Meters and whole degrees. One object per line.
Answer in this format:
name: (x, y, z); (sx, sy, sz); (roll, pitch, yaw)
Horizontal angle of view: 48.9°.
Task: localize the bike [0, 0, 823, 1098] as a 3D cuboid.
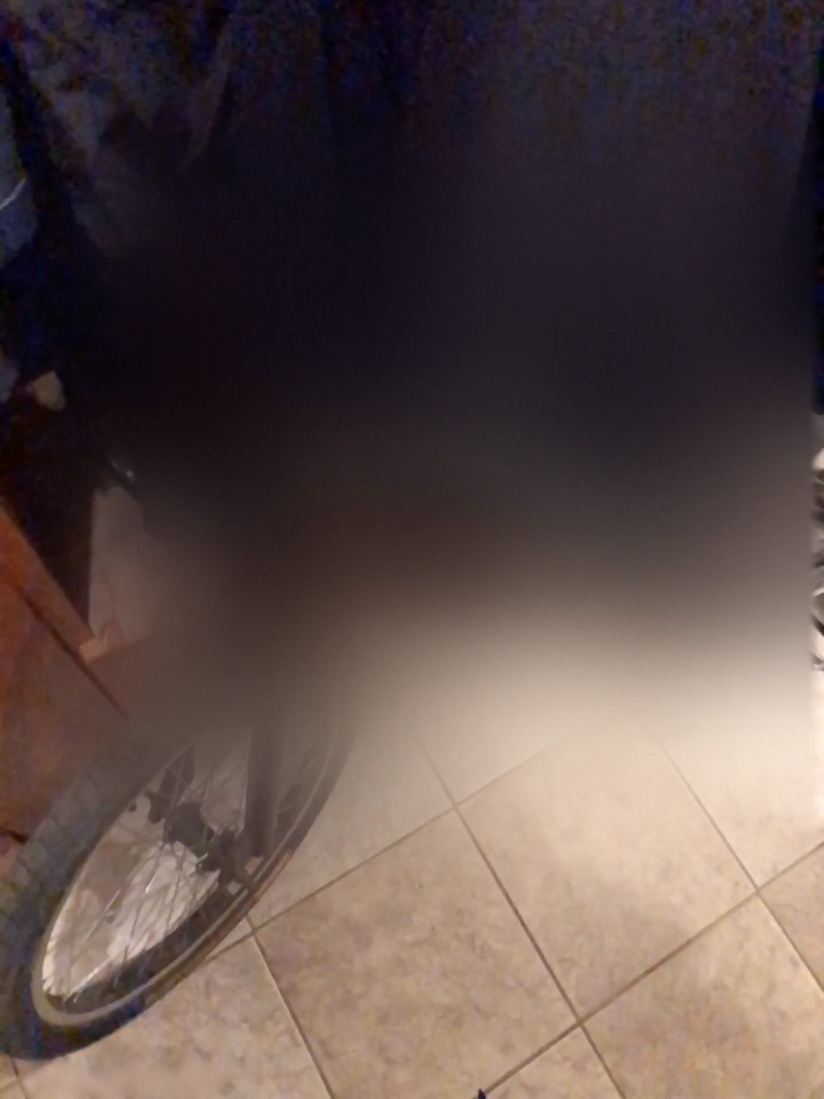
bike: (0.192, -0.002, 0.856); (1.355, 0.856, 0.526); (-24, 72, -18)
